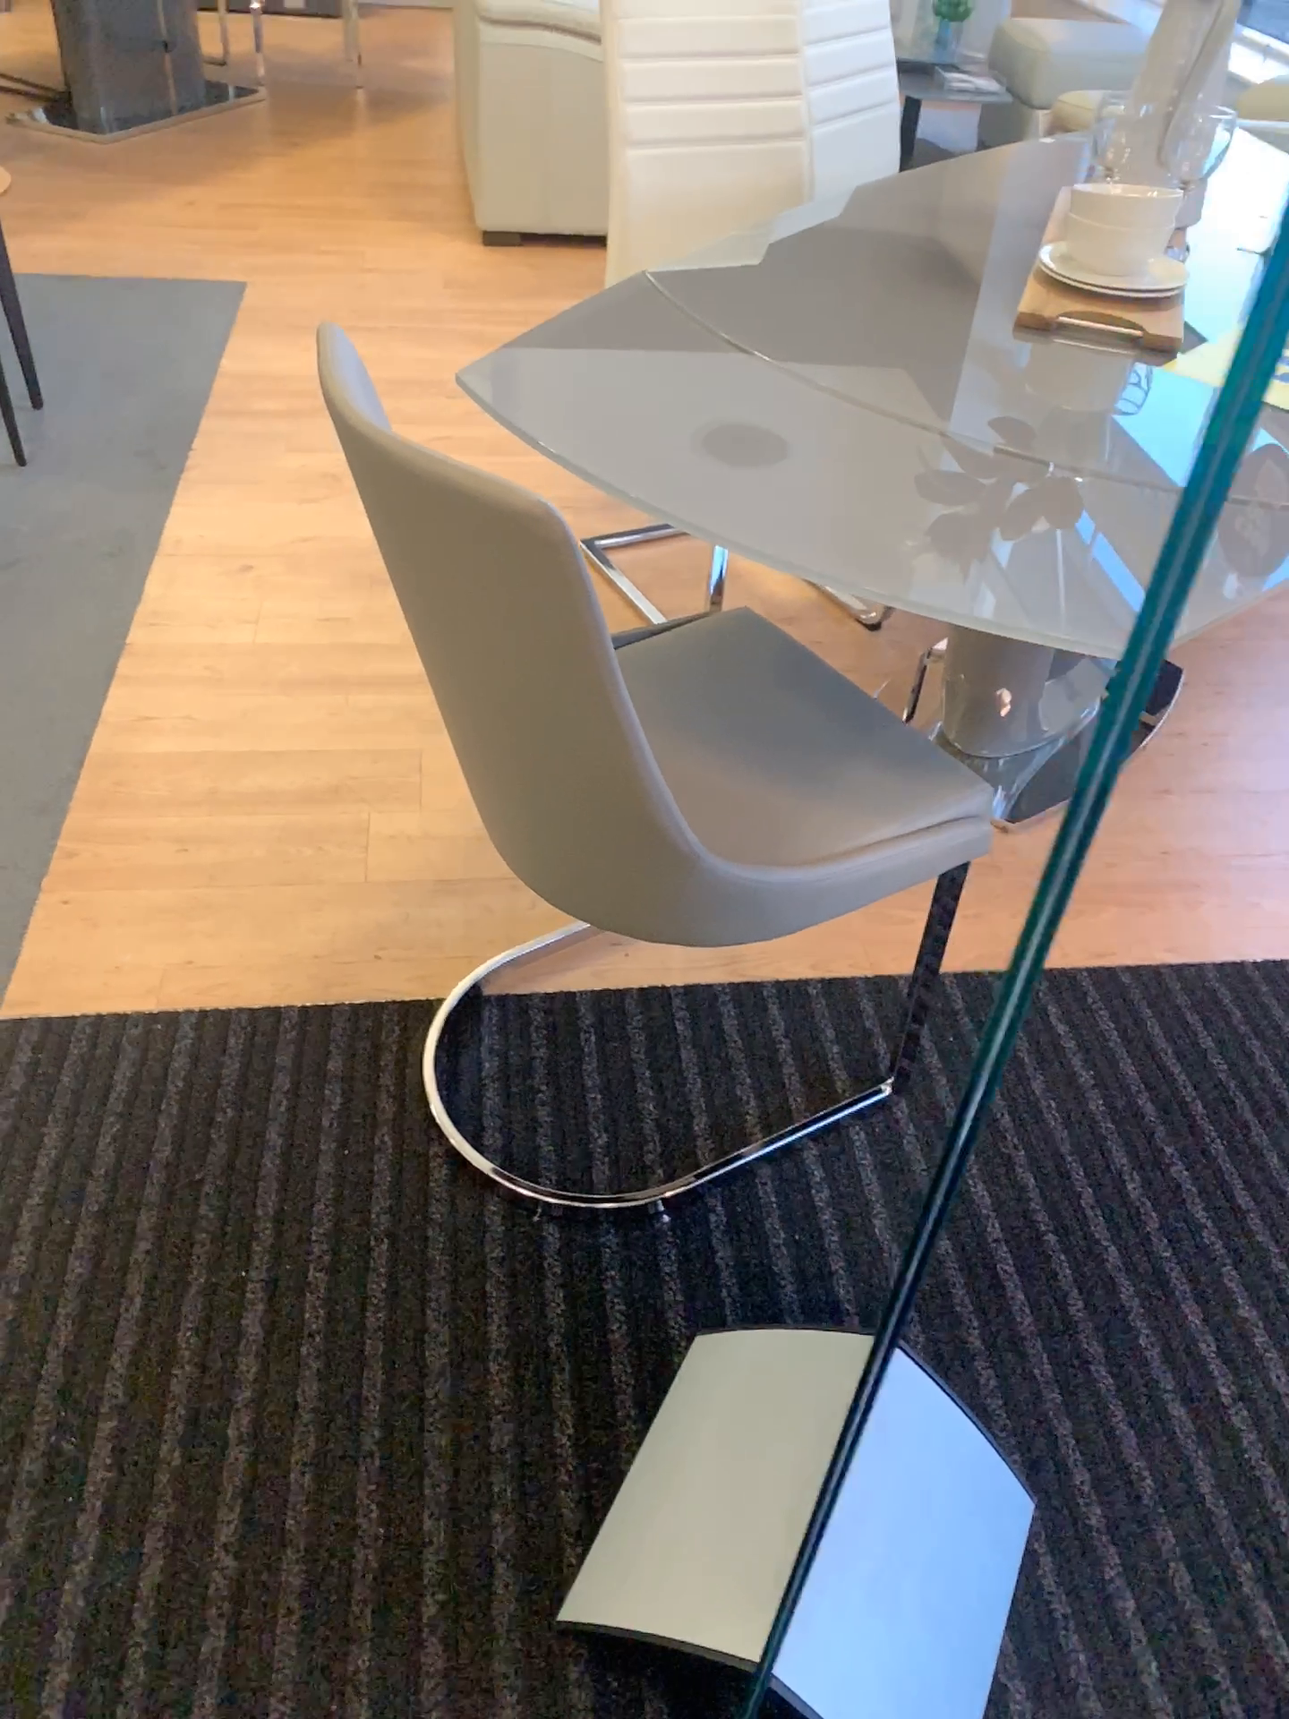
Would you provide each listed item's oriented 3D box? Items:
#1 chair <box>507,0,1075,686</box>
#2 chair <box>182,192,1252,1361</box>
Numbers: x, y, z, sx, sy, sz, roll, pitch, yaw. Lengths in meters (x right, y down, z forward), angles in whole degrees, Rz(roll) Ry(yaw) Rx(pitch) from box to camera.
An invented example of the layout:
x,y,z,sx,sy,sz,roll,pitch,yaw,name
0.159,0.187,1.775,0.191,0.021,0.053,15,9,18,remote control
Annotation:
x,y,z,sx,sy,sz,roll,pitch,yaw,name
0.149,-0.889,2.115,0.541,0.931,0.625,-16,45,-23,chair
0.020,-0.095,1.342,0.682,0.901,0.534,-19,46,-26,chair
